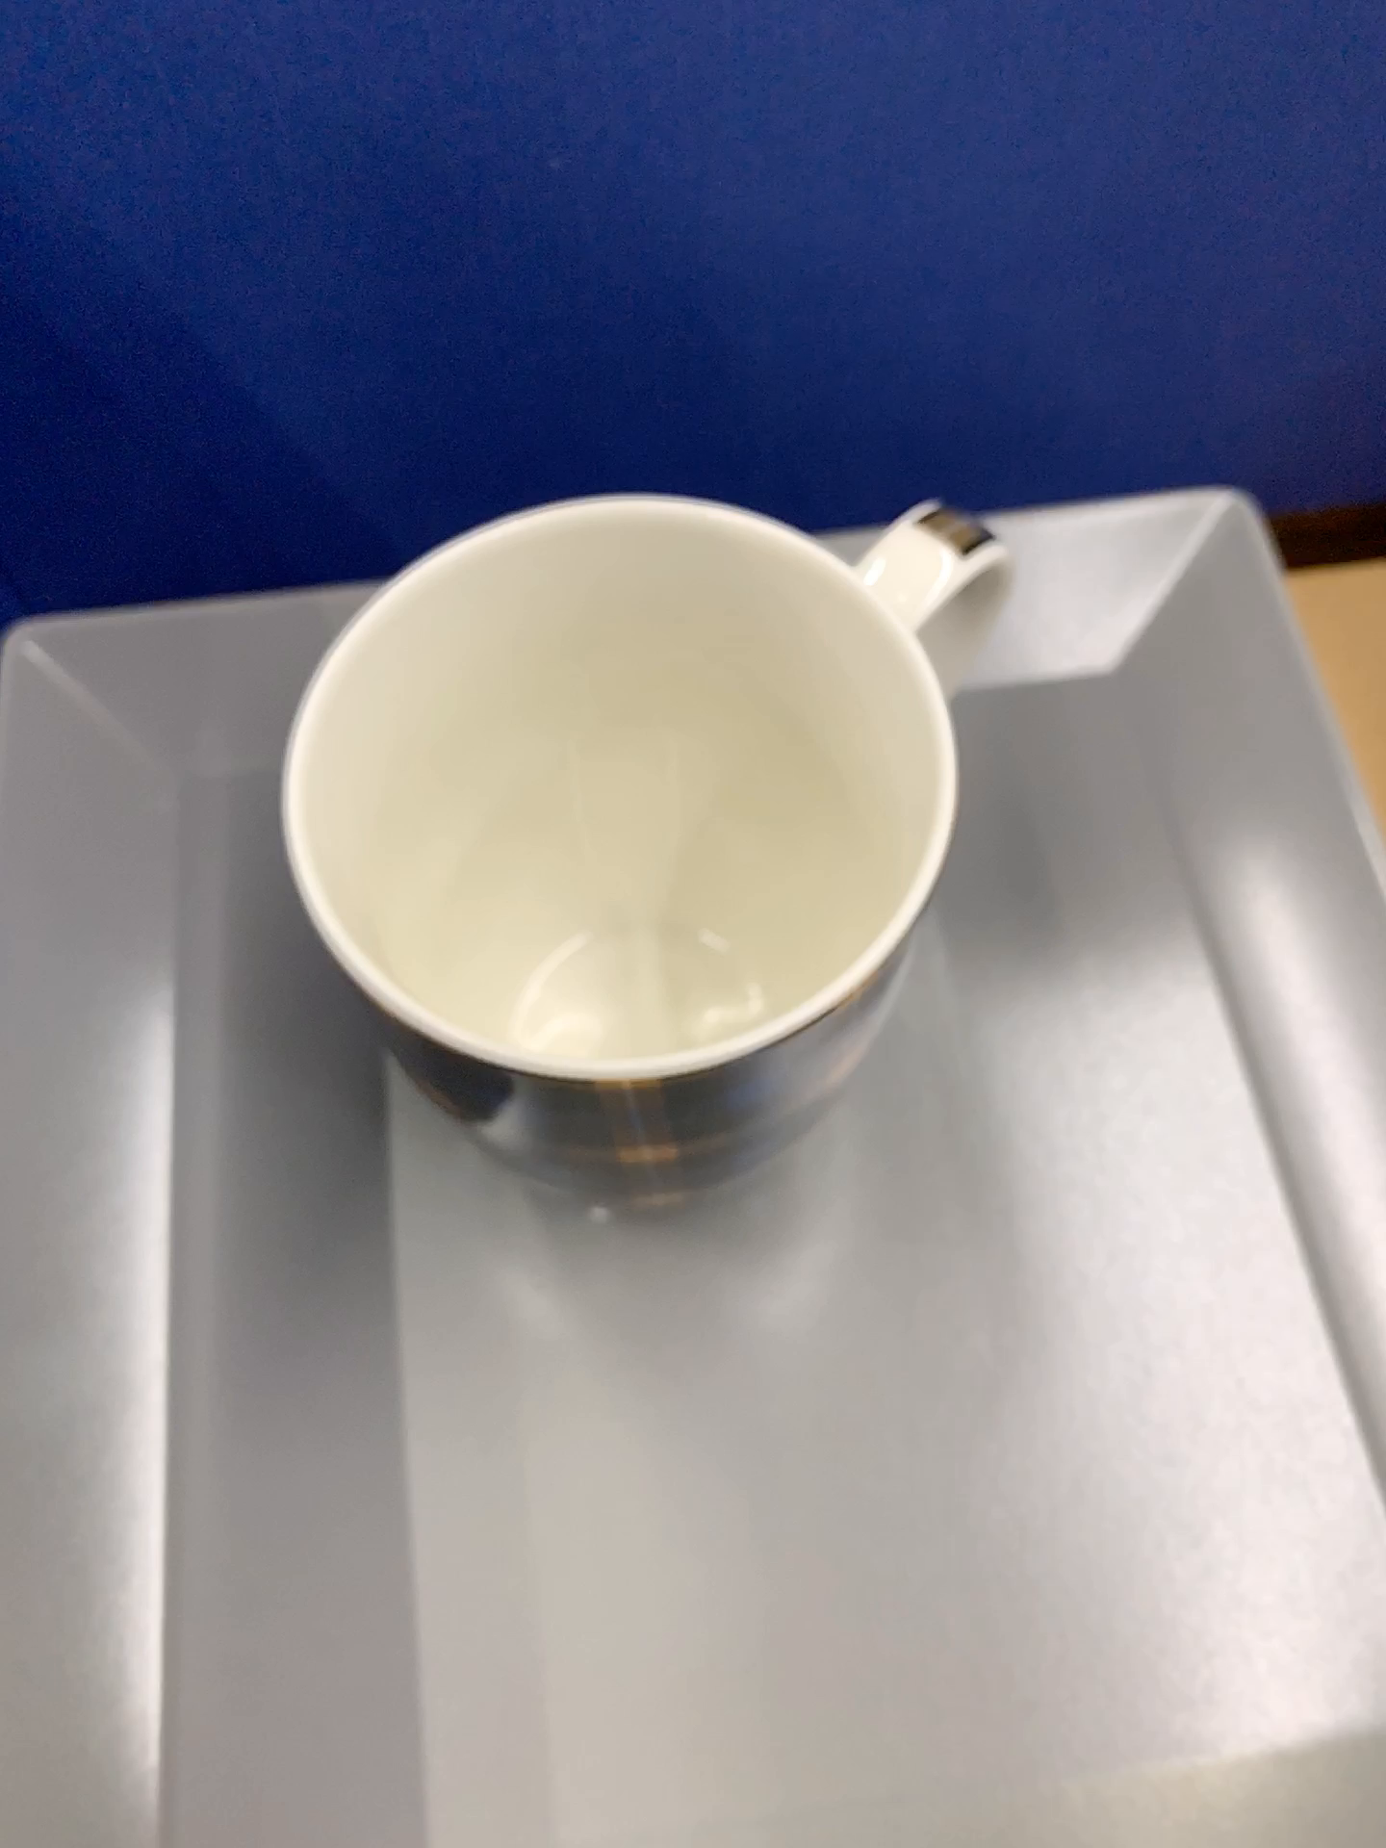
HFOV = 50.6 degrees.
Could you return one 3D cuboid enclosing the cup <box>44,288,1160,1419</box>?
[{"bbox_3d":[-0.006,-0.010,0.229,0.095,0.089,0.122,27,66,16],"label":"cup"}]
